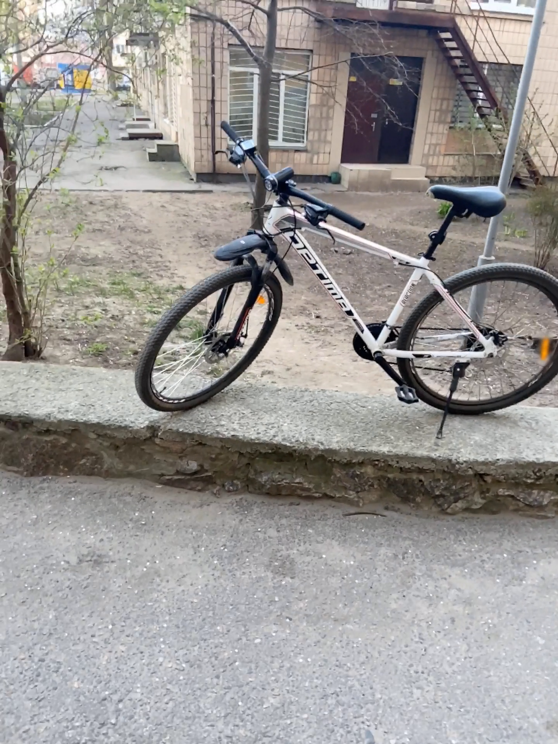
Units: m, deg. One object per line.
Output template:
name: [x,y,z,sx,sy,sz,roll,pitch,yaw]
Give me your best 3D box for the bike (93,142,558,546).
bike: [0.359,-0.169,2.057,1.752,1.144,0.682,-4,27,-9]
